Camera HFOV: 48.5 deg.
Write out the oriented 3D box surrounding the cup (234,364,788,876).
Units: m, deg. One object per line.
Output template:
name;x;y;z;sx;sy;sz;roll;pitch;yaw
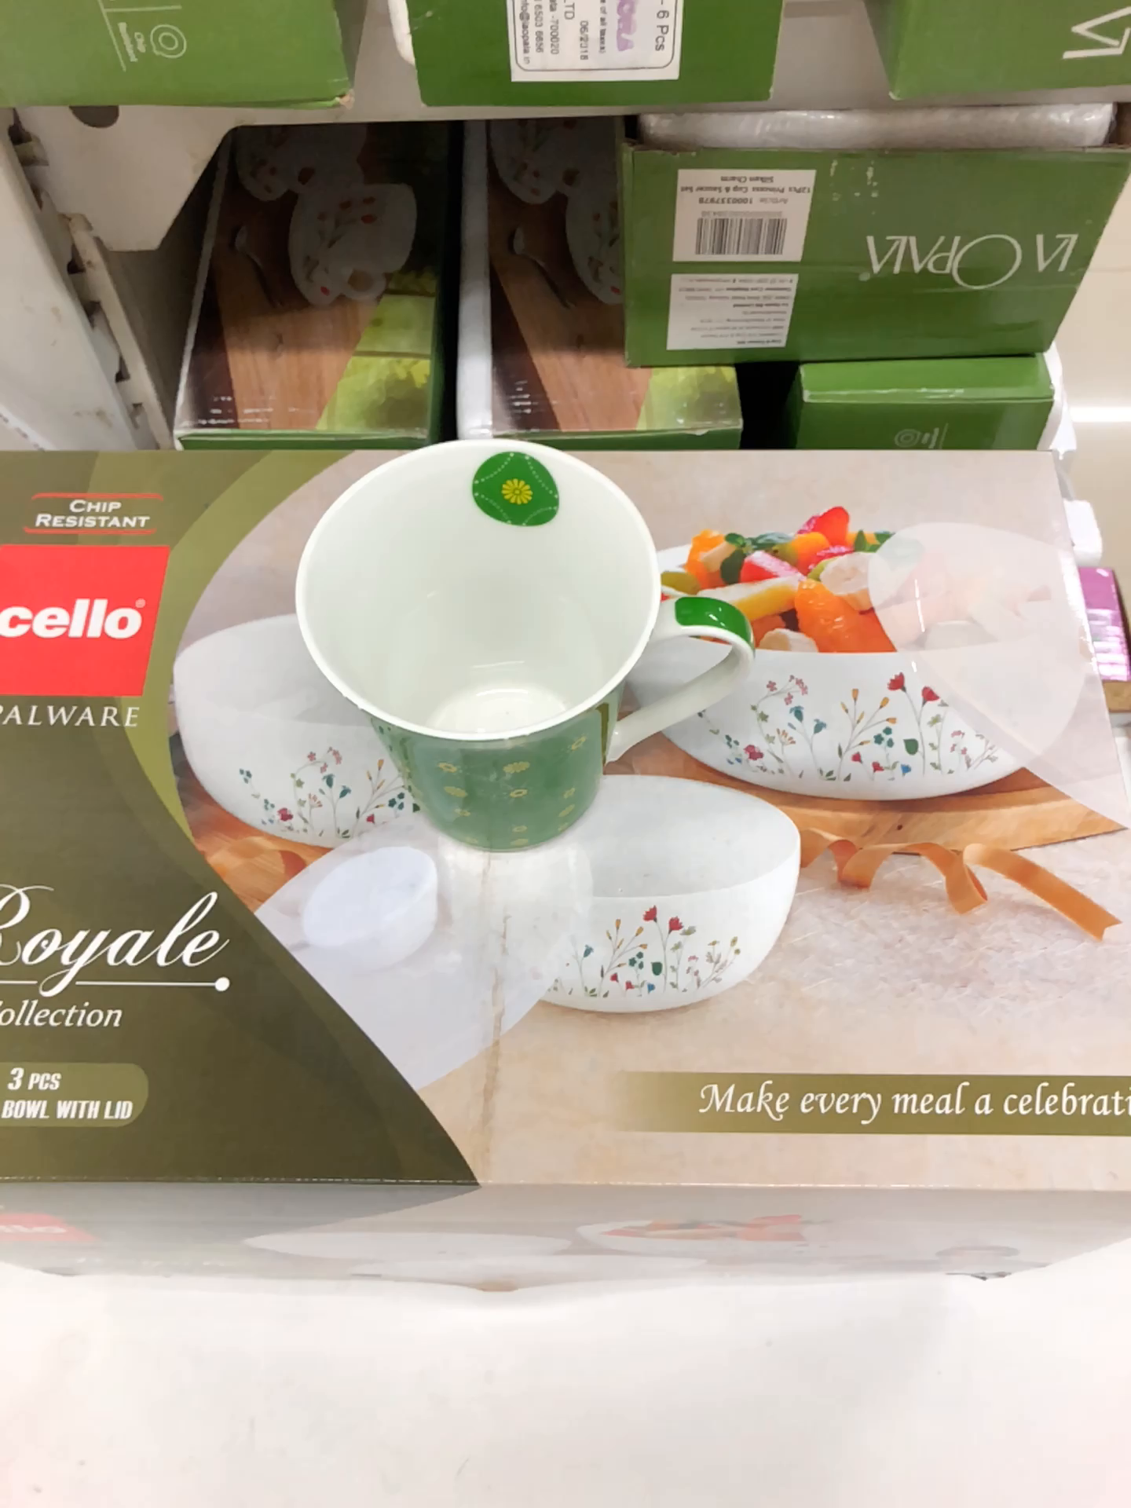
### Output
cup;-0.010;-0.030;0.310;0.110;0.090;0.090;0;61;1
